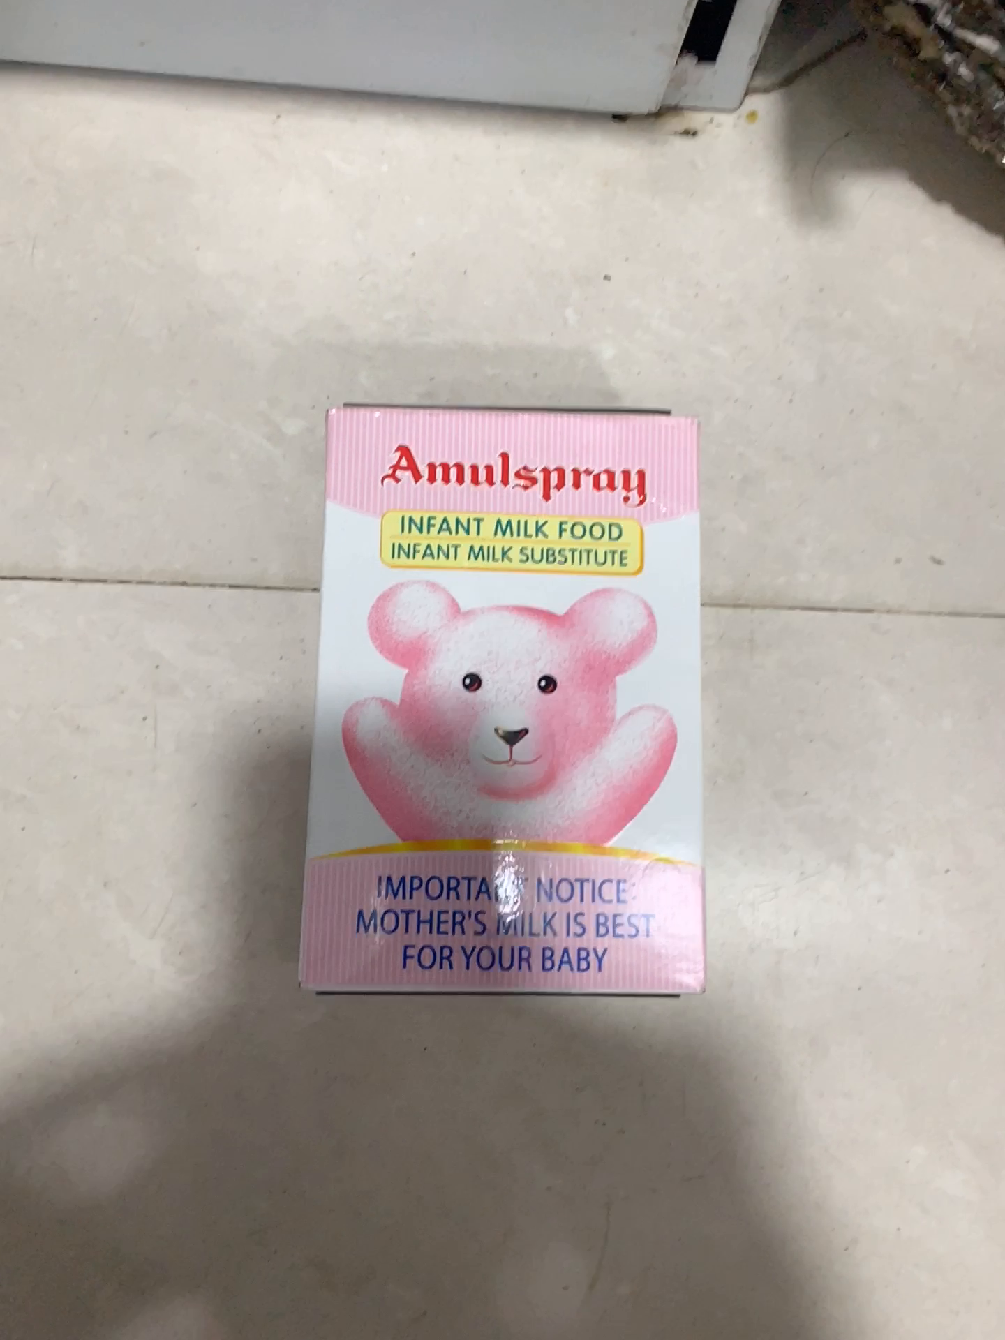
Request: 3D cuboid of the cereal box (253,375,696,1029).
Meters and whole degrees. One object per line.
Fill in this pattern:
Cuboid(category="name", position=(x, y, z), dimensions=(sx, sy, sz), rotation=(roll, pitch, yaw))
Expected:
Cuboid(category="cereal box", position=(-0.005, 0.008, 0.247), dimensions=(0.090, 0.050, 0.140), rotation=(1, 81, -2))
